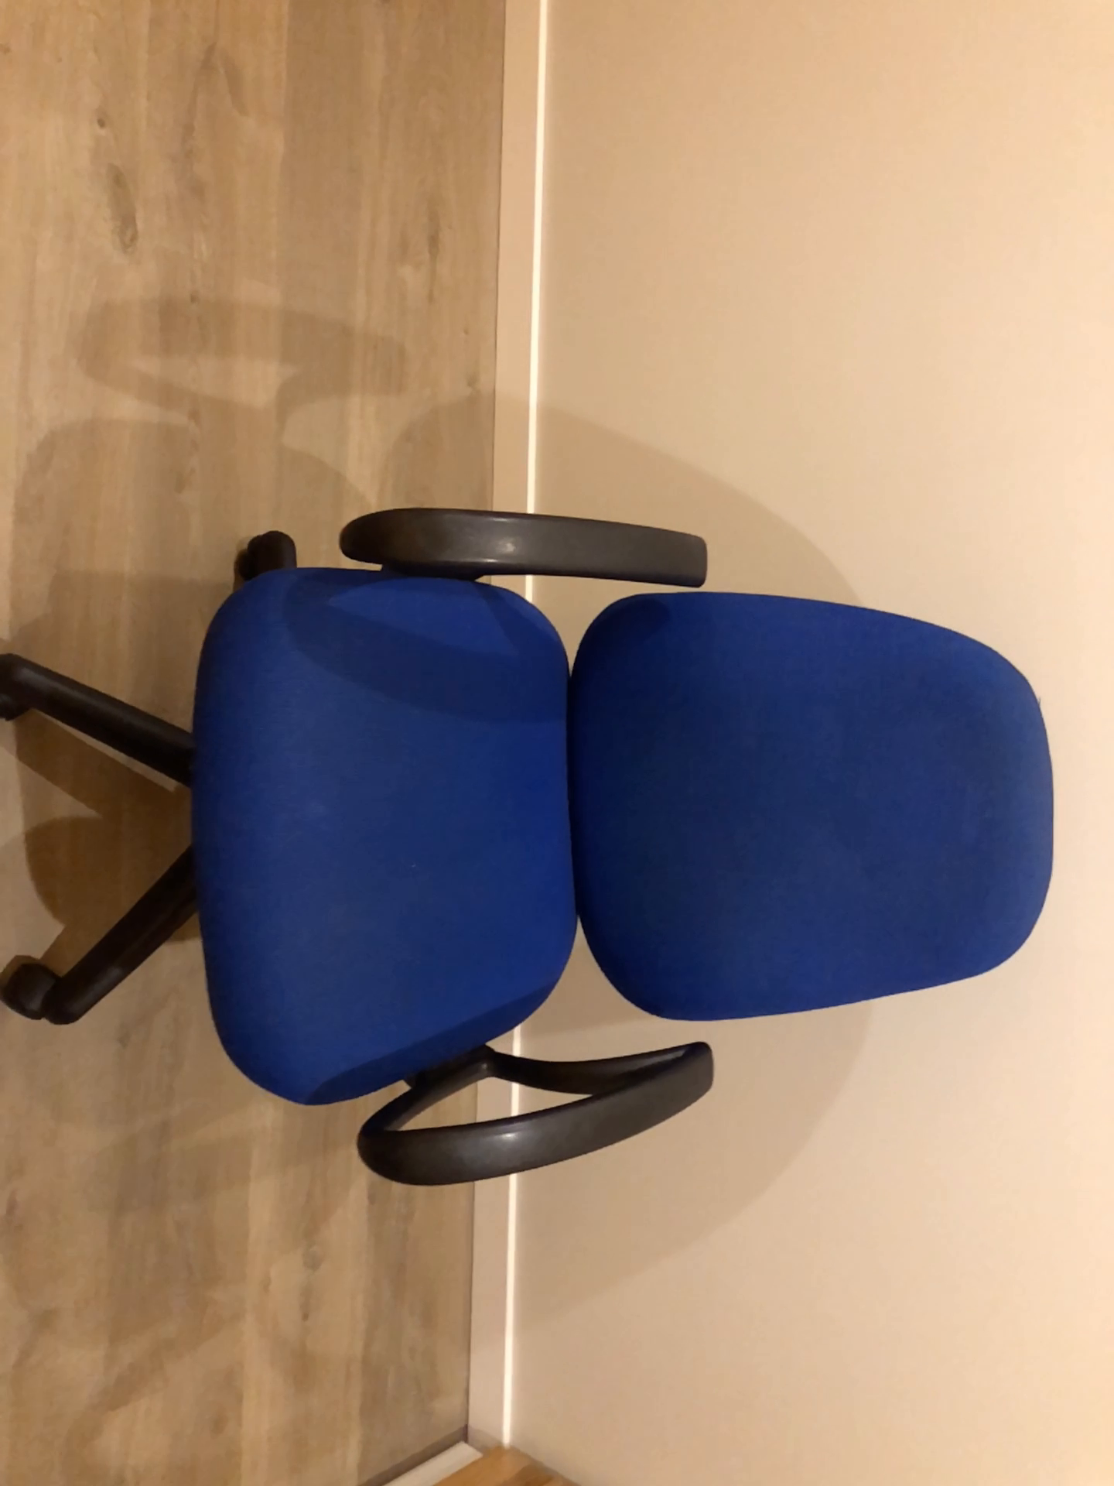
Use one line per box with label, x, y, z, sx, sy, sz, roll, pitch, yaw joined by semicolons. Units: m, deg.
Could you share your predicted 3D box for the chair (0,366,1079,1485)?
chair;-0.050;0.087;1.271;0.704;0.904;0.696;-9;98;-47
